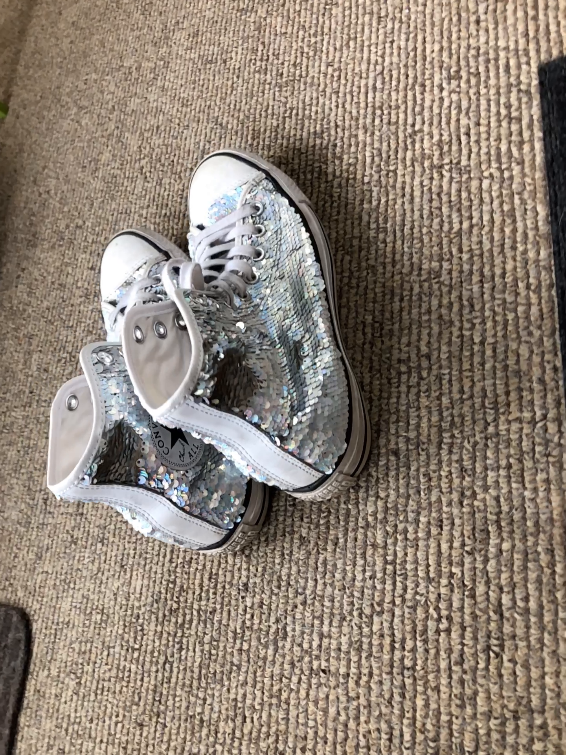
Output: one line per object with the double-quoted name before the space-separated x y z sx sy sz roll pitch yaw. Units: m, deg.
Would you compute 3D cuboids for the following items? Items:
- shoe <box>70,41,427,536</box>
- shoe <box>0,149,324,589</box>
"shoe" -0.033 -0.054 0.392 0.111 0.127 0.265 -31 57 22
"shoe" -0.103 -0.008 0.433 0.111 0.137 0.265 -39 54 17
